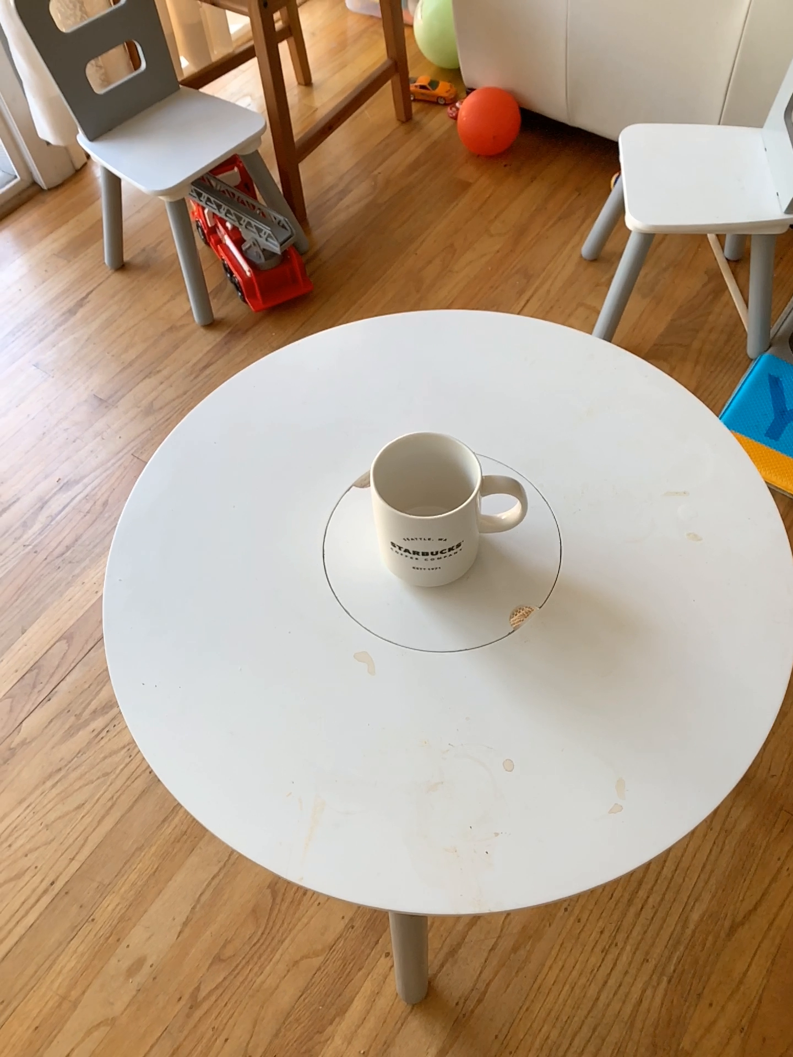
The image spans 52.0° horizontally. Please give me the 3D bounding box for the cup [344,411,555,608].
[{"bbox_3d":[0.039,-0.013,0.637,0.140,0.110,0.090,-8,57,-1],"label":"cup"}]
